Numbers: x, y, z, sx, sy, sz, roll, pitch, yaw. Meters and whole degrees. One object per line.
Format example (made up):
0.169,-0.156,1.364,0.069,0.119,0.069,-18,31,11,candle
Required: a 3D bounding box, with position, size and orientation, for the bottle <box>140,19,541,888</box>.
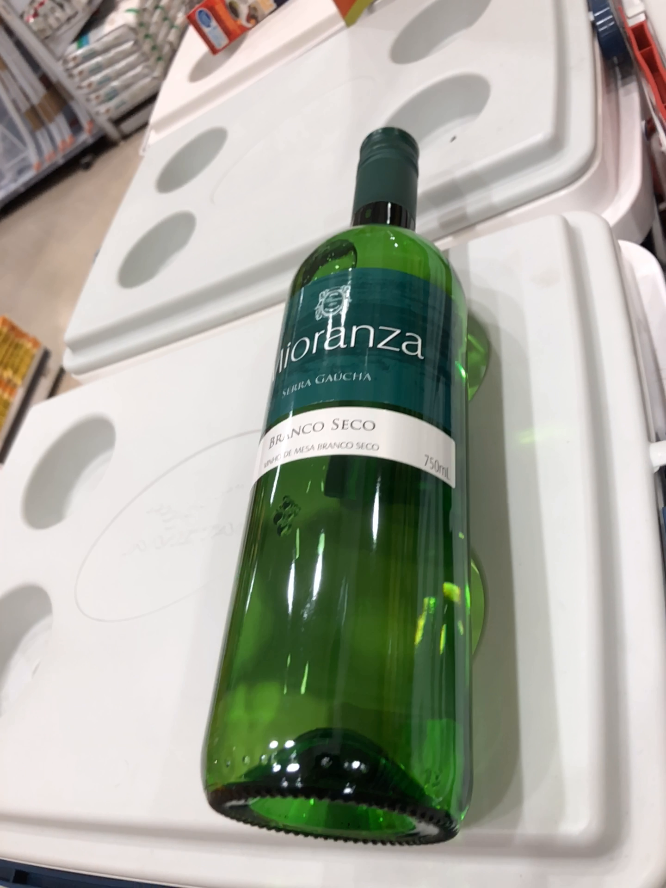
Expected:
0.023,-0.035,0.300,0.080,0.070,0.361,-17,47,30,bottle
